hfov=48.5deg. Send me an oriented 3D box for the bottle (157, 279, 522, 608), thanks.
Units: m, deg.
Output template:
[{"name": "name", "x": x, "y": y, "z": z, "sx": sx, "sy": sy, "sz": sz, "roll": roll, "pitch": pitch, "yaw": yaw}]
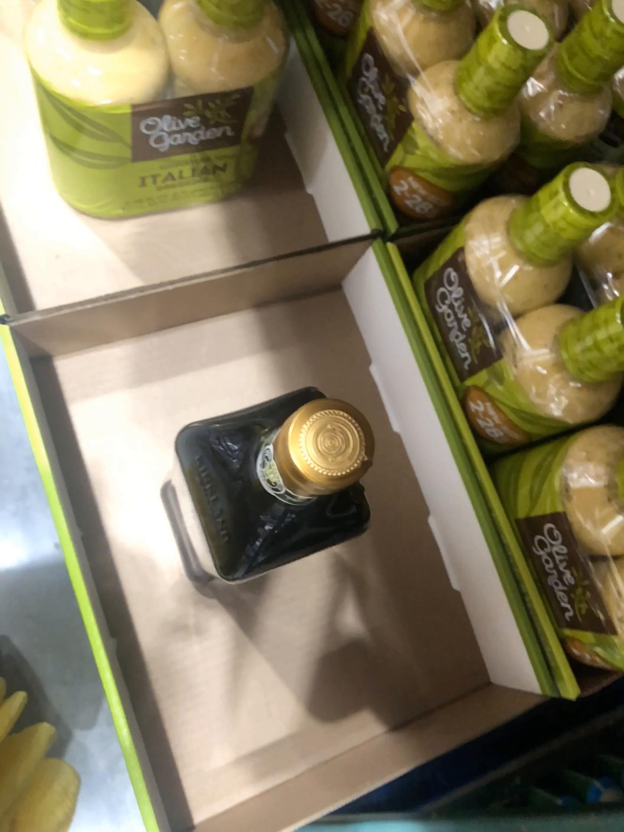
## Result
[{"name": "bottle", "x": -0.021, "y": 0.039, "z": 0.379, "sx": 0.090, "sy": 0.306, "sz": 0.090, "roll": 3, "pitch": 76, "yaw": -14}]
